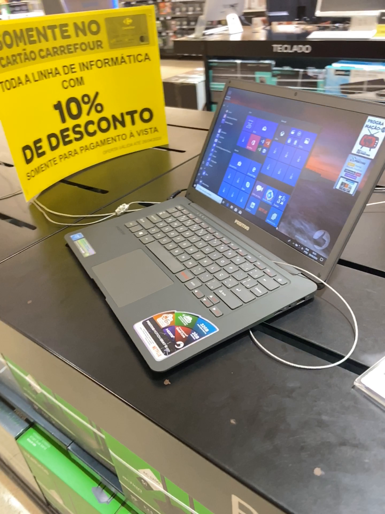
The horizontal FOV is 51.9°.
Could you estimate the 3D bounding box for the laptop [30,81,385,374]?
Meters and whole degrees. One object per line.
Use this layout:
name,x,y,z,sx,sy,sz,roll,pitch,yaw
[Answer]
laptop,0.010,-0.080,0.465,0.292,0.159,0.297,-22,36,-22
